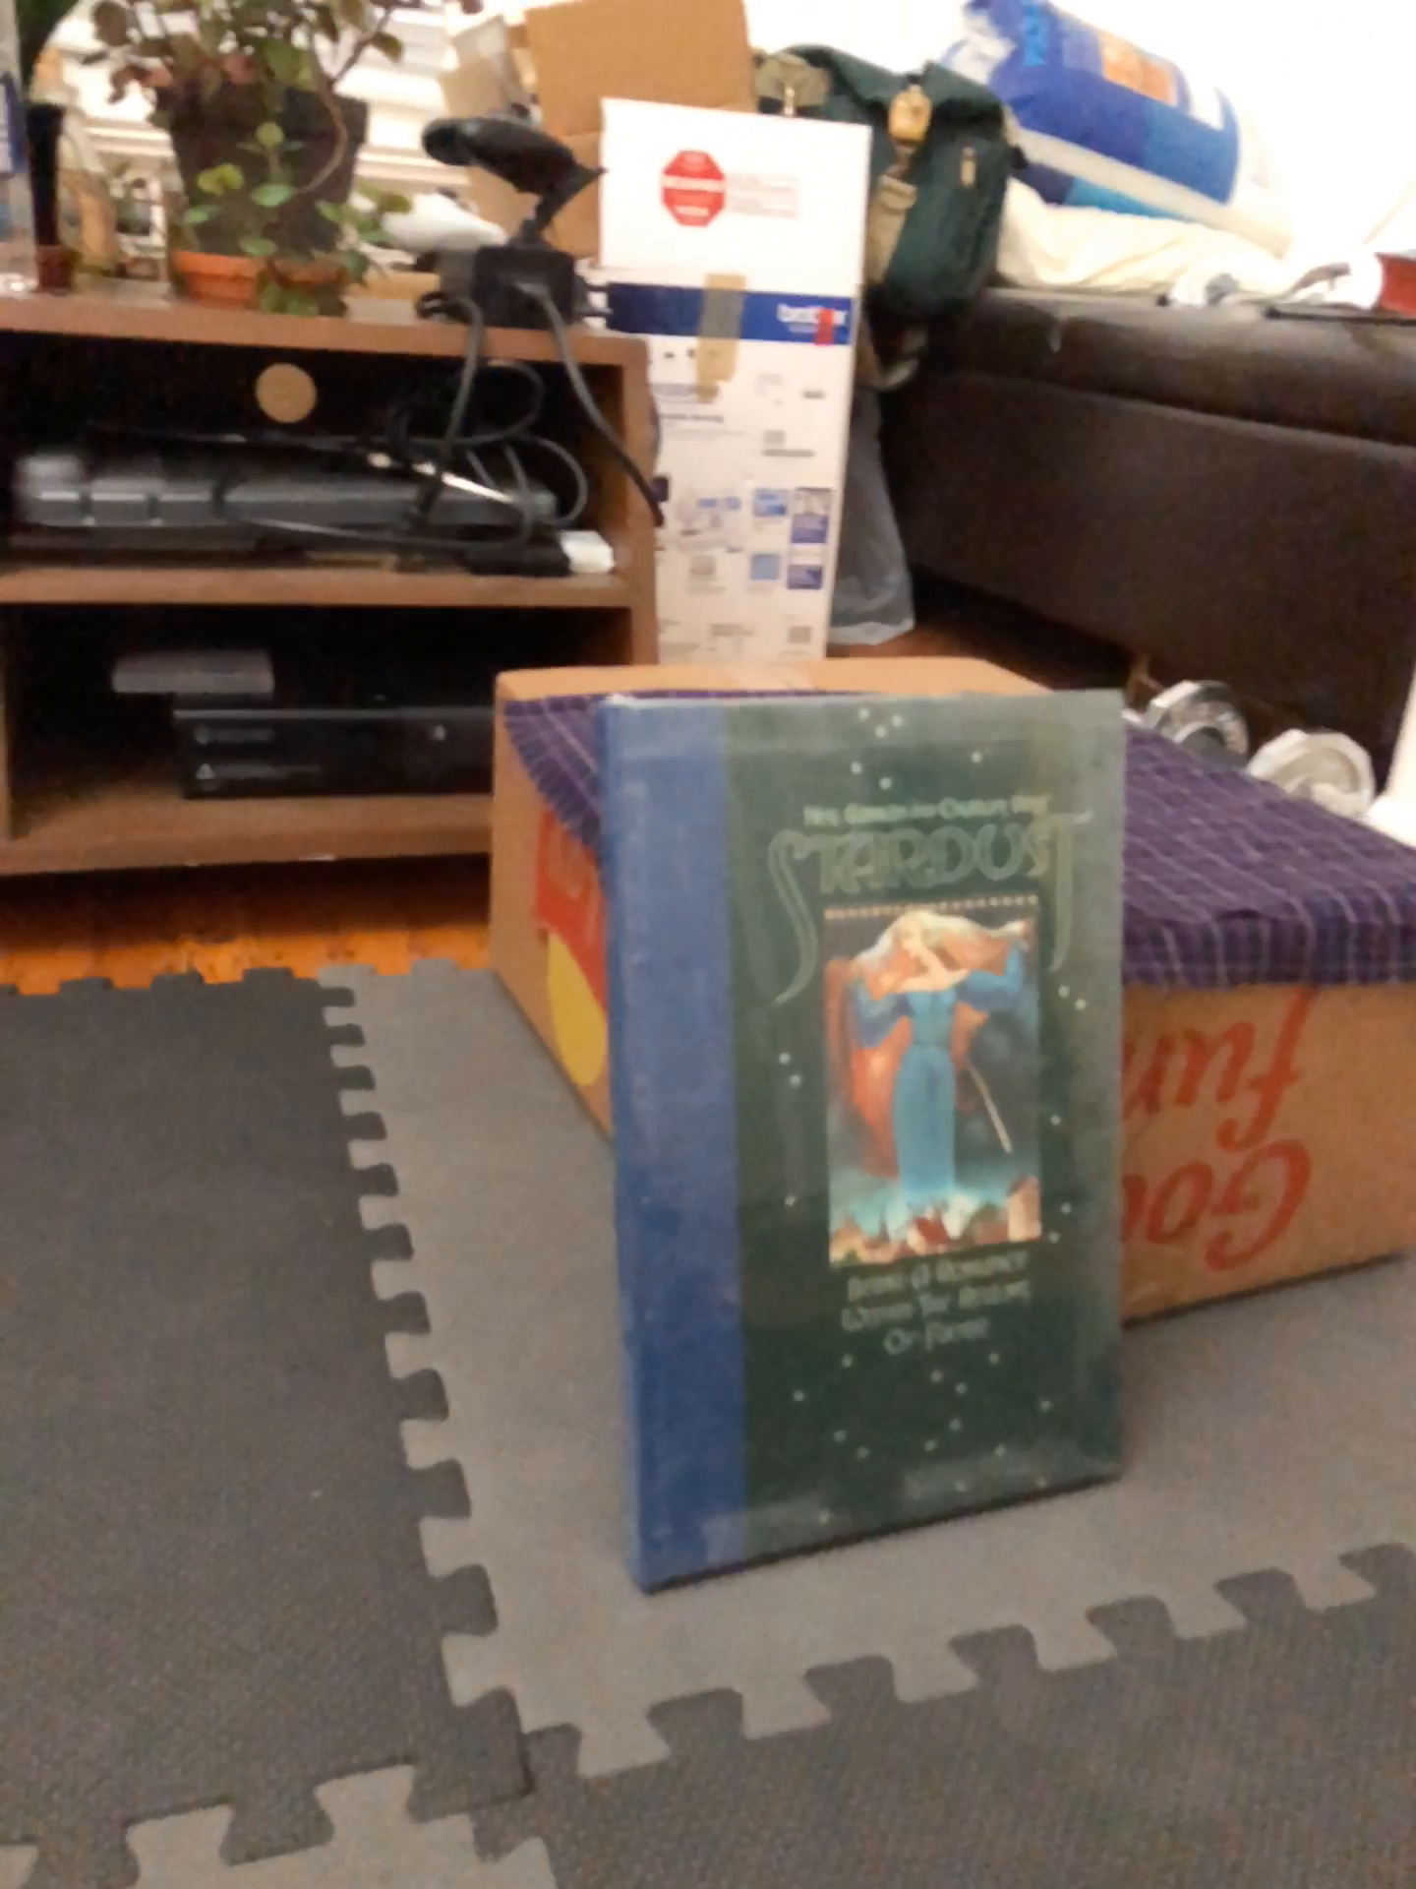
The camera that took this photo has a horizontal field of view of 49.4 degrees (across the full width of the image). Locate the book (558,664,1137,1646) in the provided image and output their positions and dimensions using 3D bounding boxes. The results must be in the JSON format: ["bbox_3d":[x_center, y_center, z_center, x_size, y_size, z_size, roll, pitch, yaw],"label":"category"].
[{"bbox_3d":[0.060,0.069,0.558,0.210,0.329,0.020,-6,8,-20],"label":"book"}]
